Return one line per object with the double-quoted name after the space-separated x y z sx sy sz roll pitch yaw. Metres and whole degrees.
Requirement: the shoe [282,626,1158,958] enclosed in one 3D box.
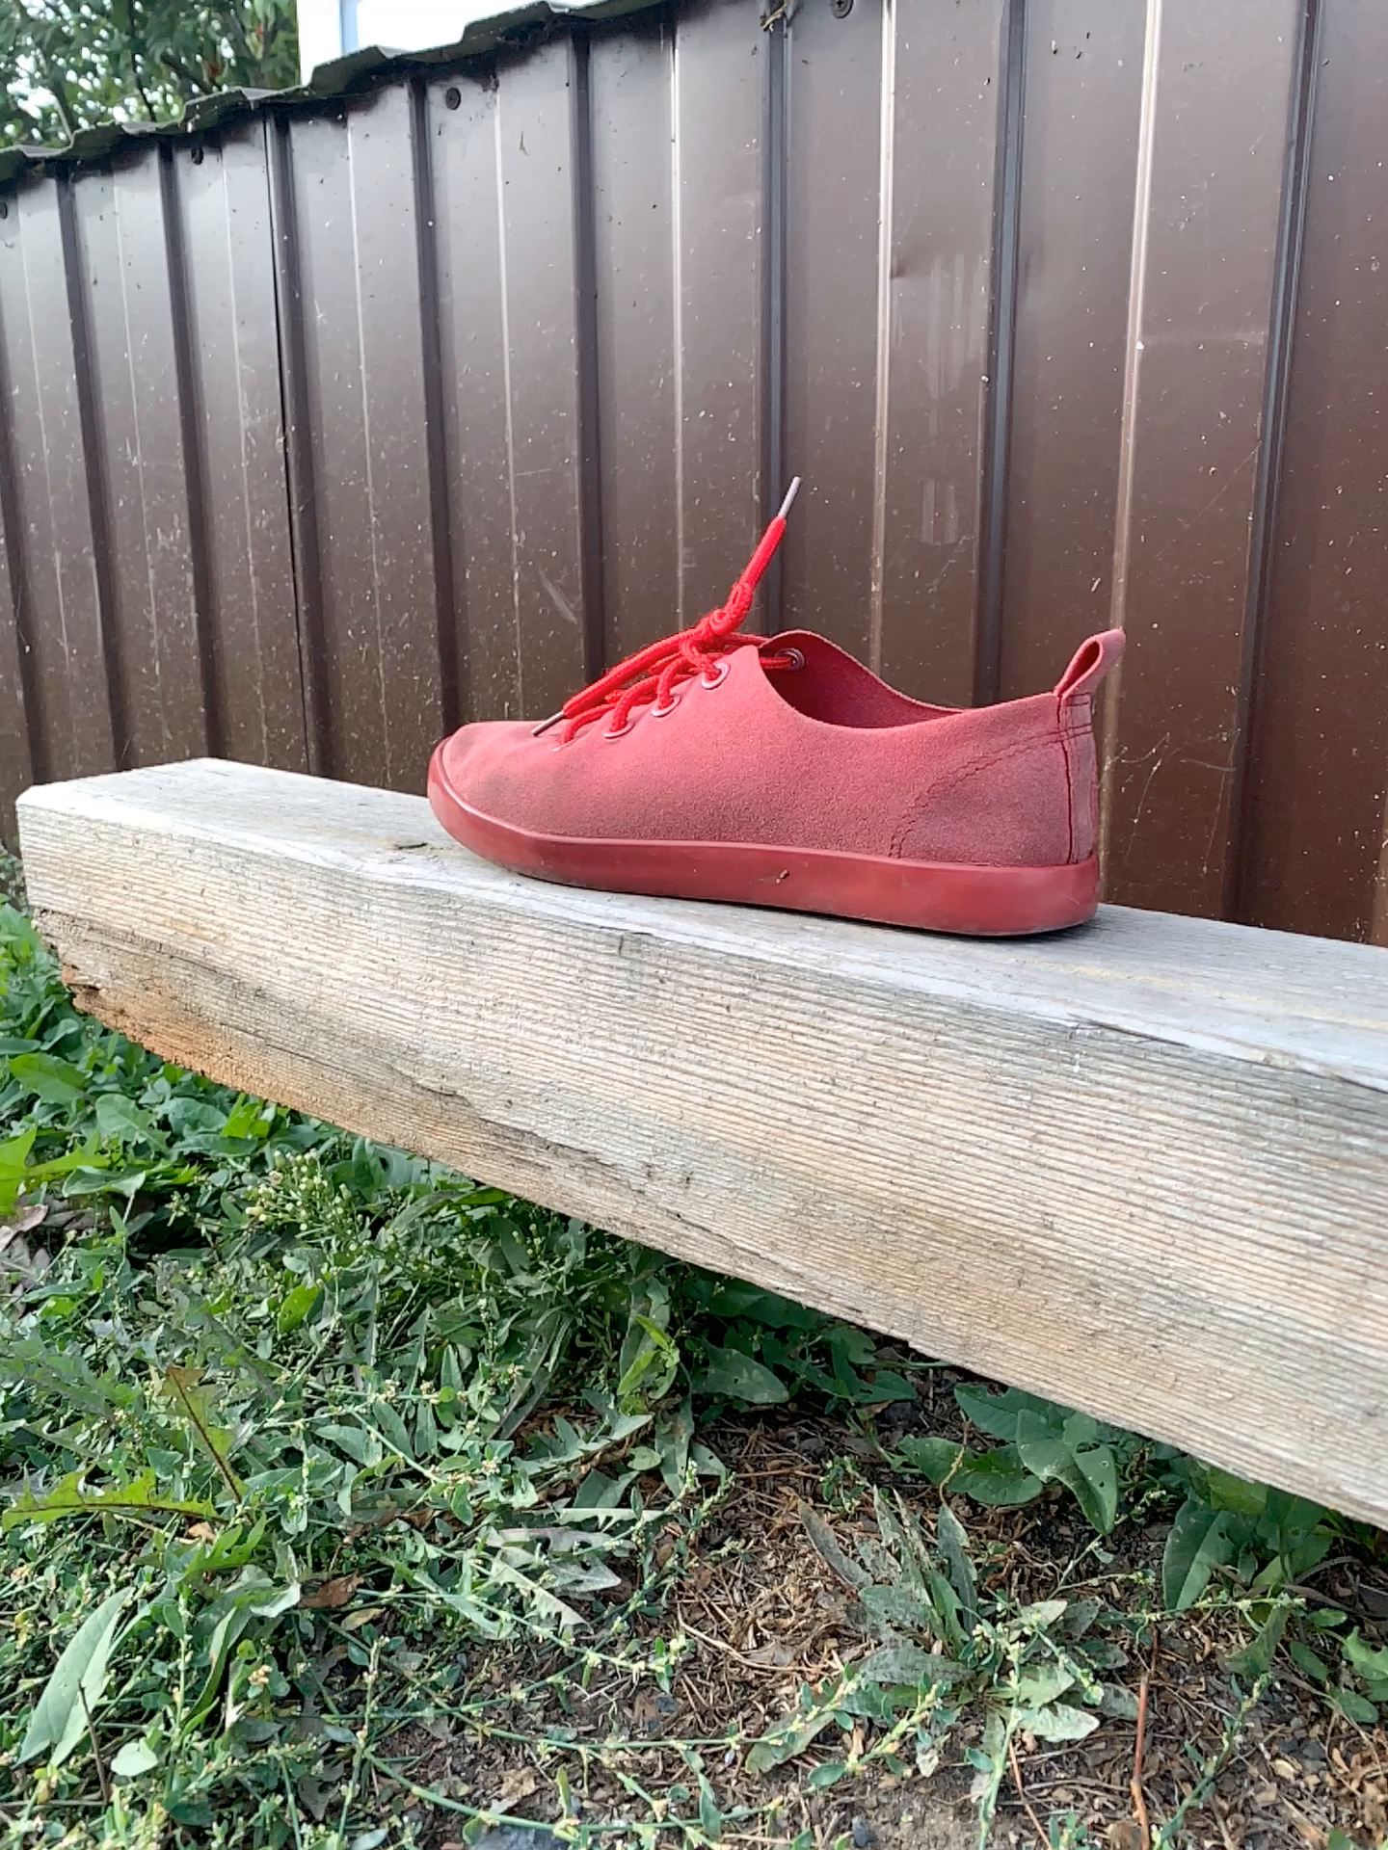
0.001 -0.051 0.425 0.240 0.070 0.100 8 15 32 "shoe"
